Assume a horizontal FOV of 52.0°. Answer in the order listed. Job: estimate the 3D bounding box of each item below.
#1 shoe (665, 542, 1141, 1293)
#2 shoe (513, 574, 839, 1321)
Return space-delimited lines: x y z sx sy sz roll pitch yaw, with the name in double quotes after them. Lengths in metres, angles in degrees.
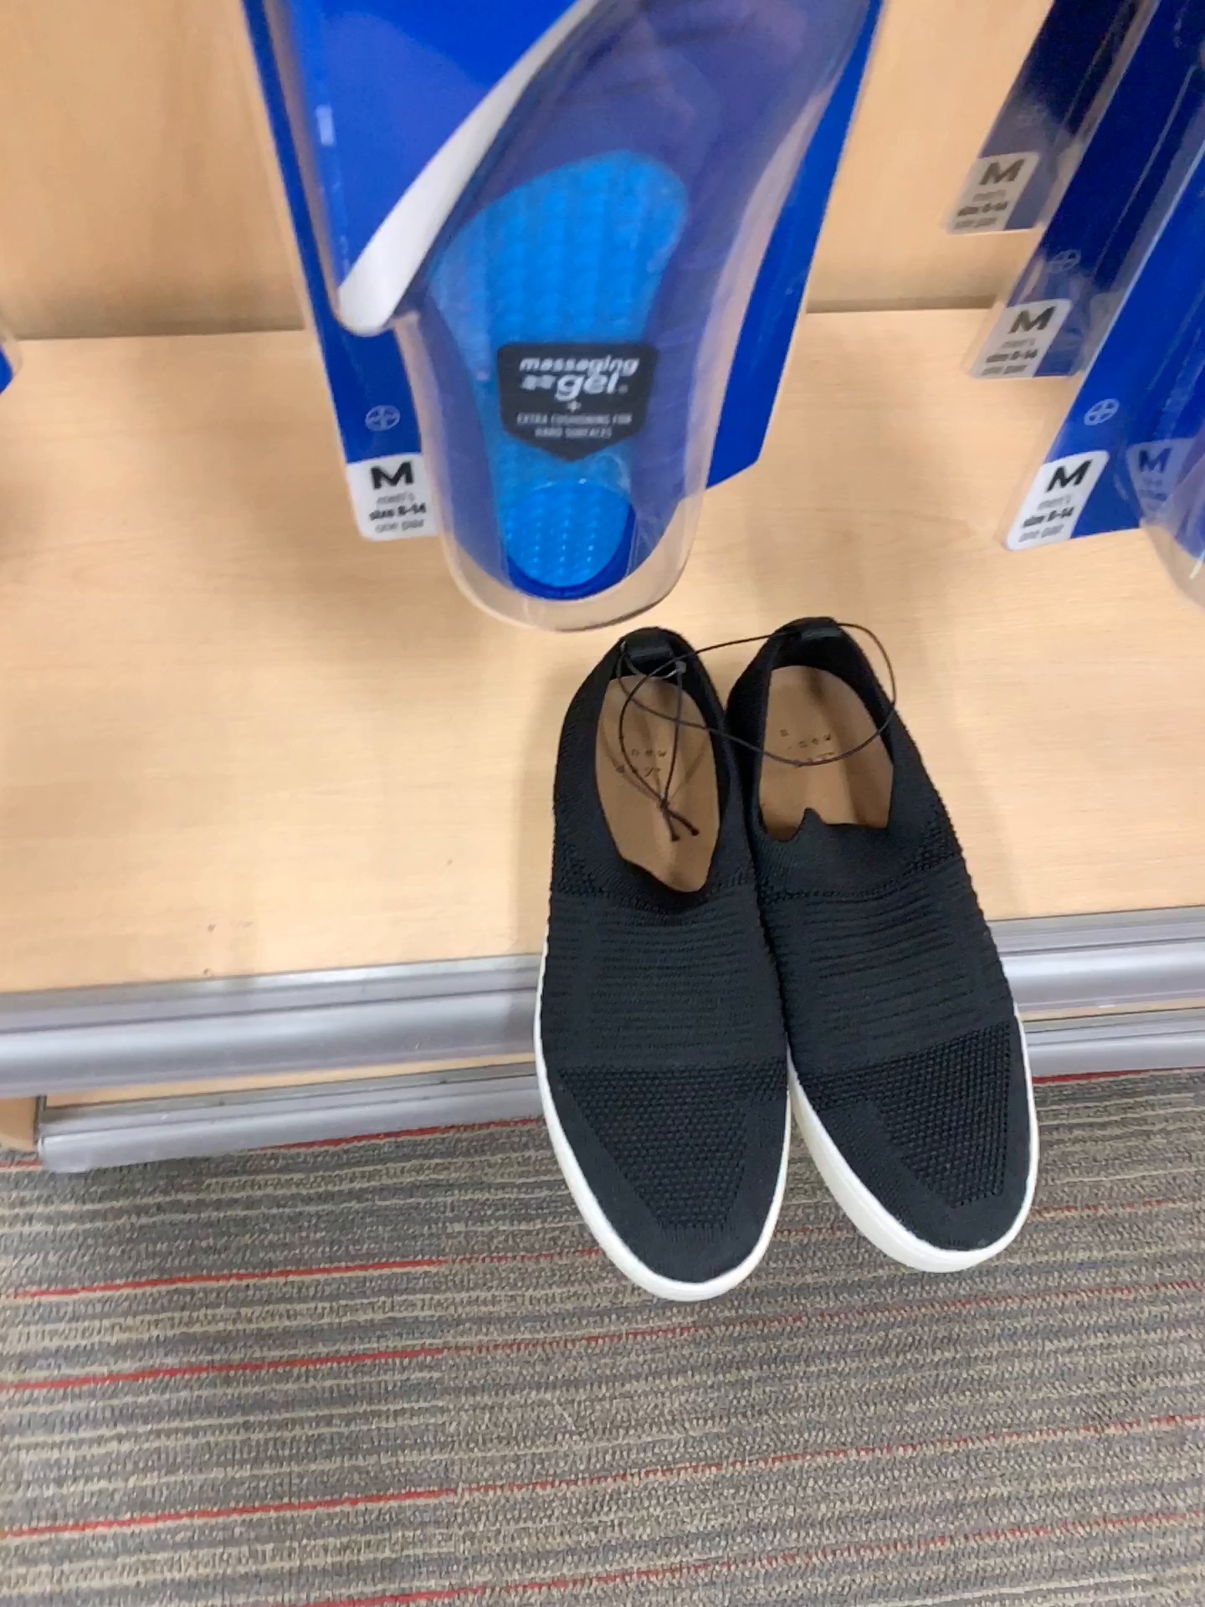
0.103 0.043 0.493 0.100 0.100 0.270 -7 68 -6 "shoe"
0.017 0.053 0.483 0.100 0.100 0.270 -1 67 -3 "shoe"
